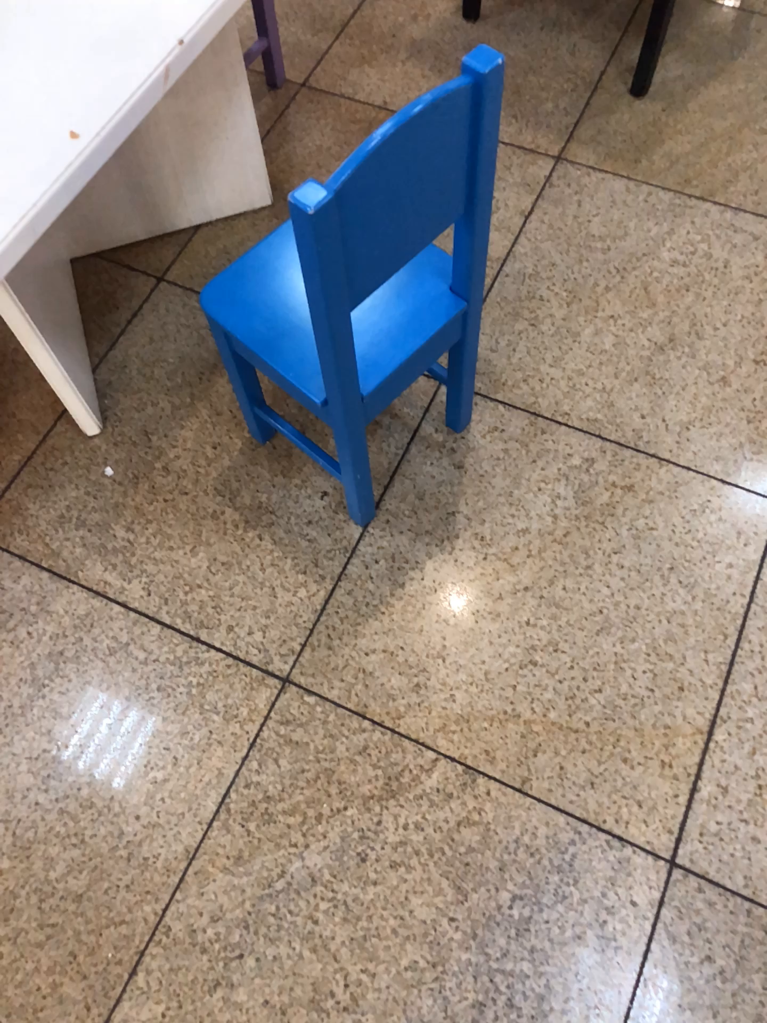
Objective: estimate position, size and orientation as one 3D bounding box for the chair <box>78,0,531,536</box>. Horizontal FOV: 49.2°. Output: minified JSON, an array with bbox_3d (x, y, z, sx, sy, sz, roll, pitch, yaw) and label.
[{"bbox_3d":[-0.067,-0.301,1.098,0.330,0.649,0.290,40,72,19],"label":"chair"}]
